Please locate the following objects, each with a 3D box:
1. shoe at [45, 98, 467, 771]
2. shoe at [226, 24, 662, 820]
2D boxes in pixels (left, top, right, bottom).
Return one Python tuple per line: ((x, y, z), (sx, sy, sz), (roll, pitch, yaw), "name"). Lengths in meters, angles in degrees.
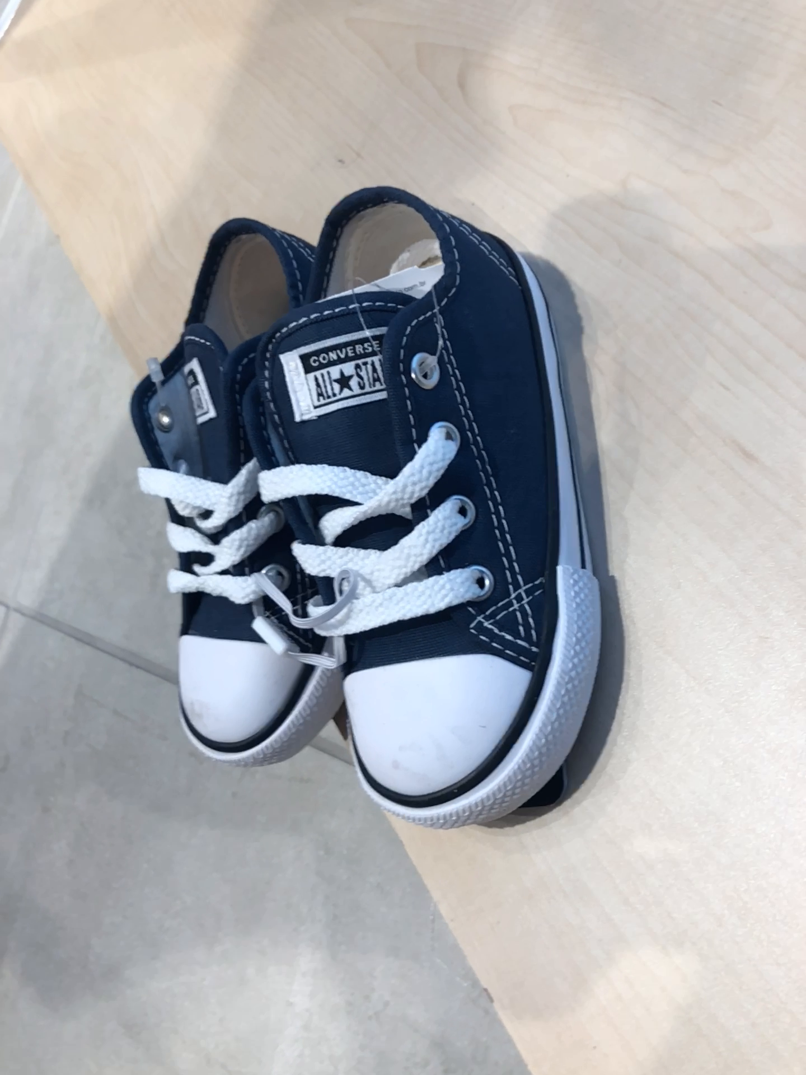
((-0.042, -0.025, 0.268), (0.080, 0.060, 0.170), (2, 80, 41), "shoe")
((0.010, -0.021, 0.228), (0.080, 0.060, 0.170), (-10, 72, 38), "shoe")
